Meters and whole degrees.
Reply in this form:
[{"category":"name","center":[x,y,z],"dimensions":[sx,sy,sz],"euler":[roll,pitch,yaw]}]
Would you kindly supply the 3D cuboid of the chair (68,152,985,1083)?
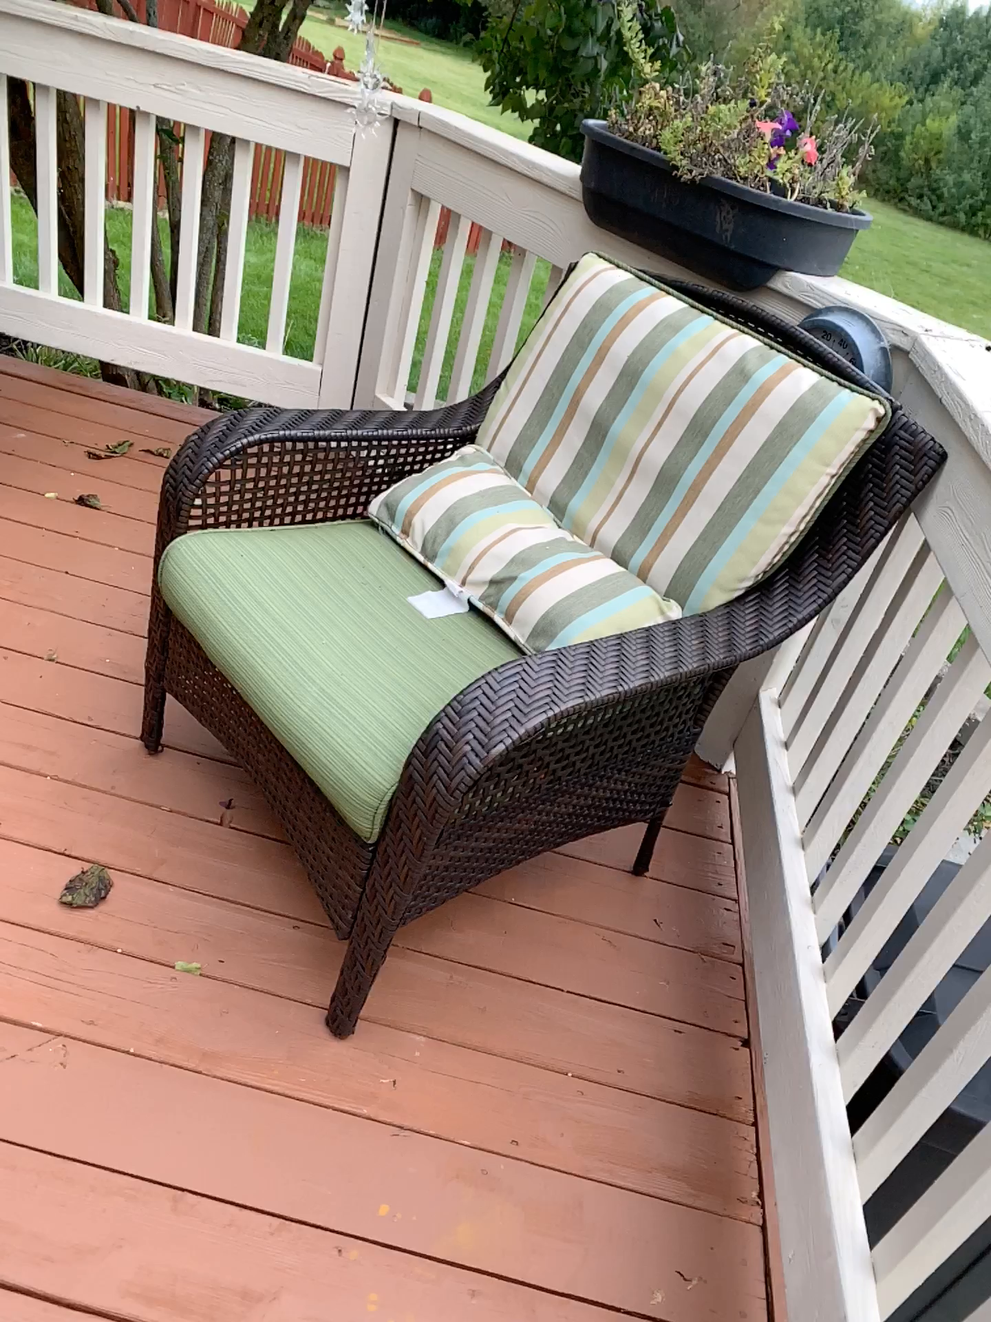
[{"category":"chair","center":[-0.041,-0.141,1.480],"dimensions":[0.861,0.824,0.813],"euler":[-13,42,-38]}]
